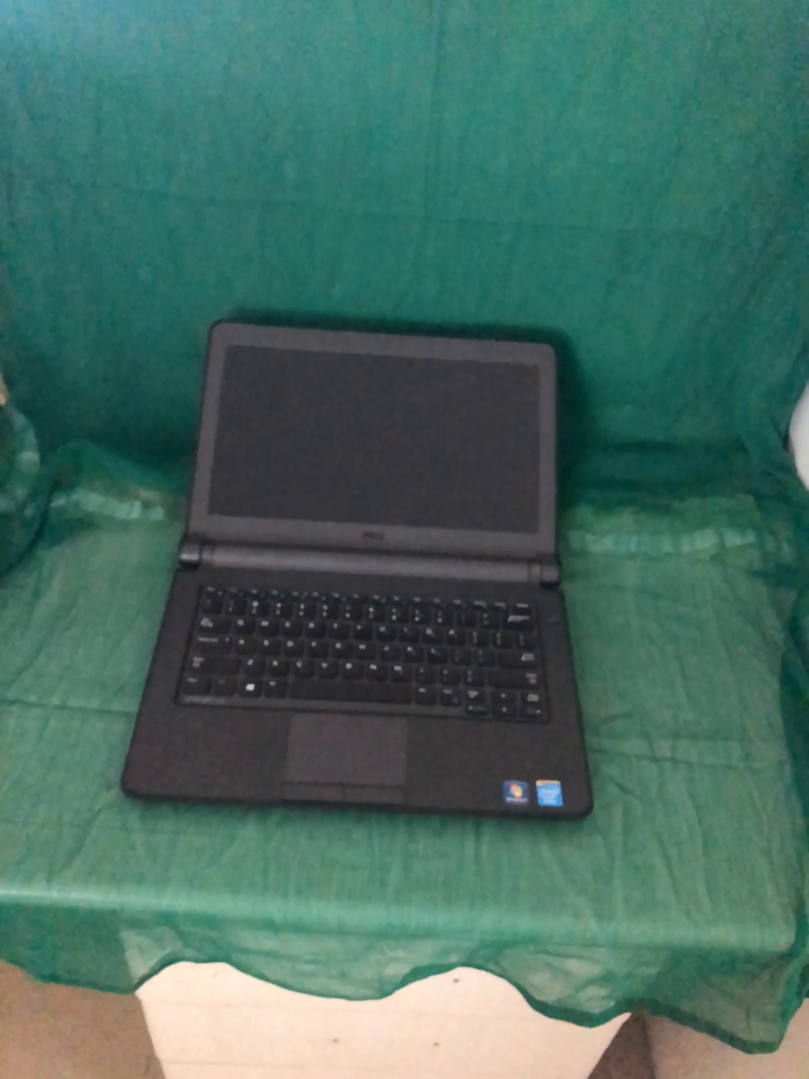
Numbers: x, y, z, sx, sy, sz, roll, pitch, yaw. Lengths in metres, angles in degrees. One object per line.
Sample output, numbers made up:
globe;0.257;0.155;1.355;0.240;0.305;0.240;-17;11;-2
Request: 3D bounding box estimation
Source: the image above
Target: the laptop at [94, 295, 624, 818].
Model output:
laptop;-0.024;-0.017;0.699;0.311;0.096;0.422;3;48;-2
